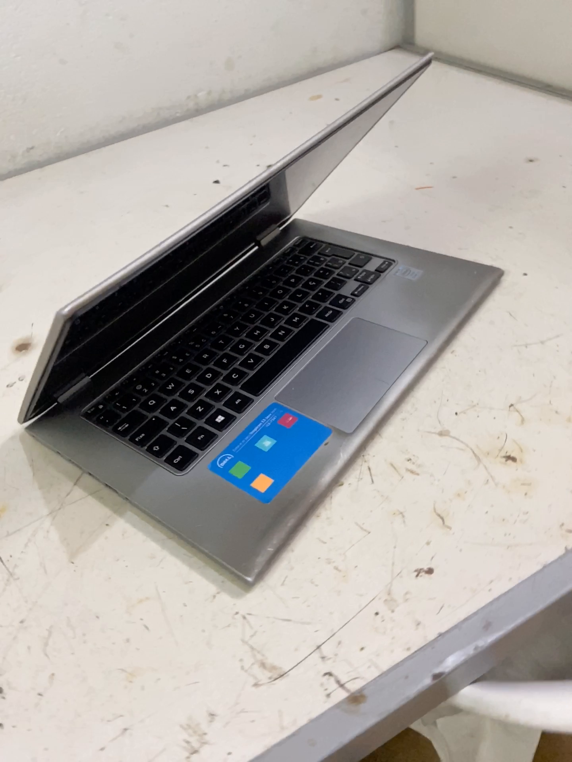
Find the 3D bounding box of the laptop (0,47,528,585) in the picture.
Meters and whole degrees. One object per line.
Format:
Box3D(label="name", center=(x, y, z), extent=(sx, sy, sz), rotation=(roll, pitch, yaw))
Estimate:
Box3D(label="laptop", center=(-0.018, -0.086, 0.402), extent=(0.218, 0.155, 0.328), rotation=(23, 52, 31))
